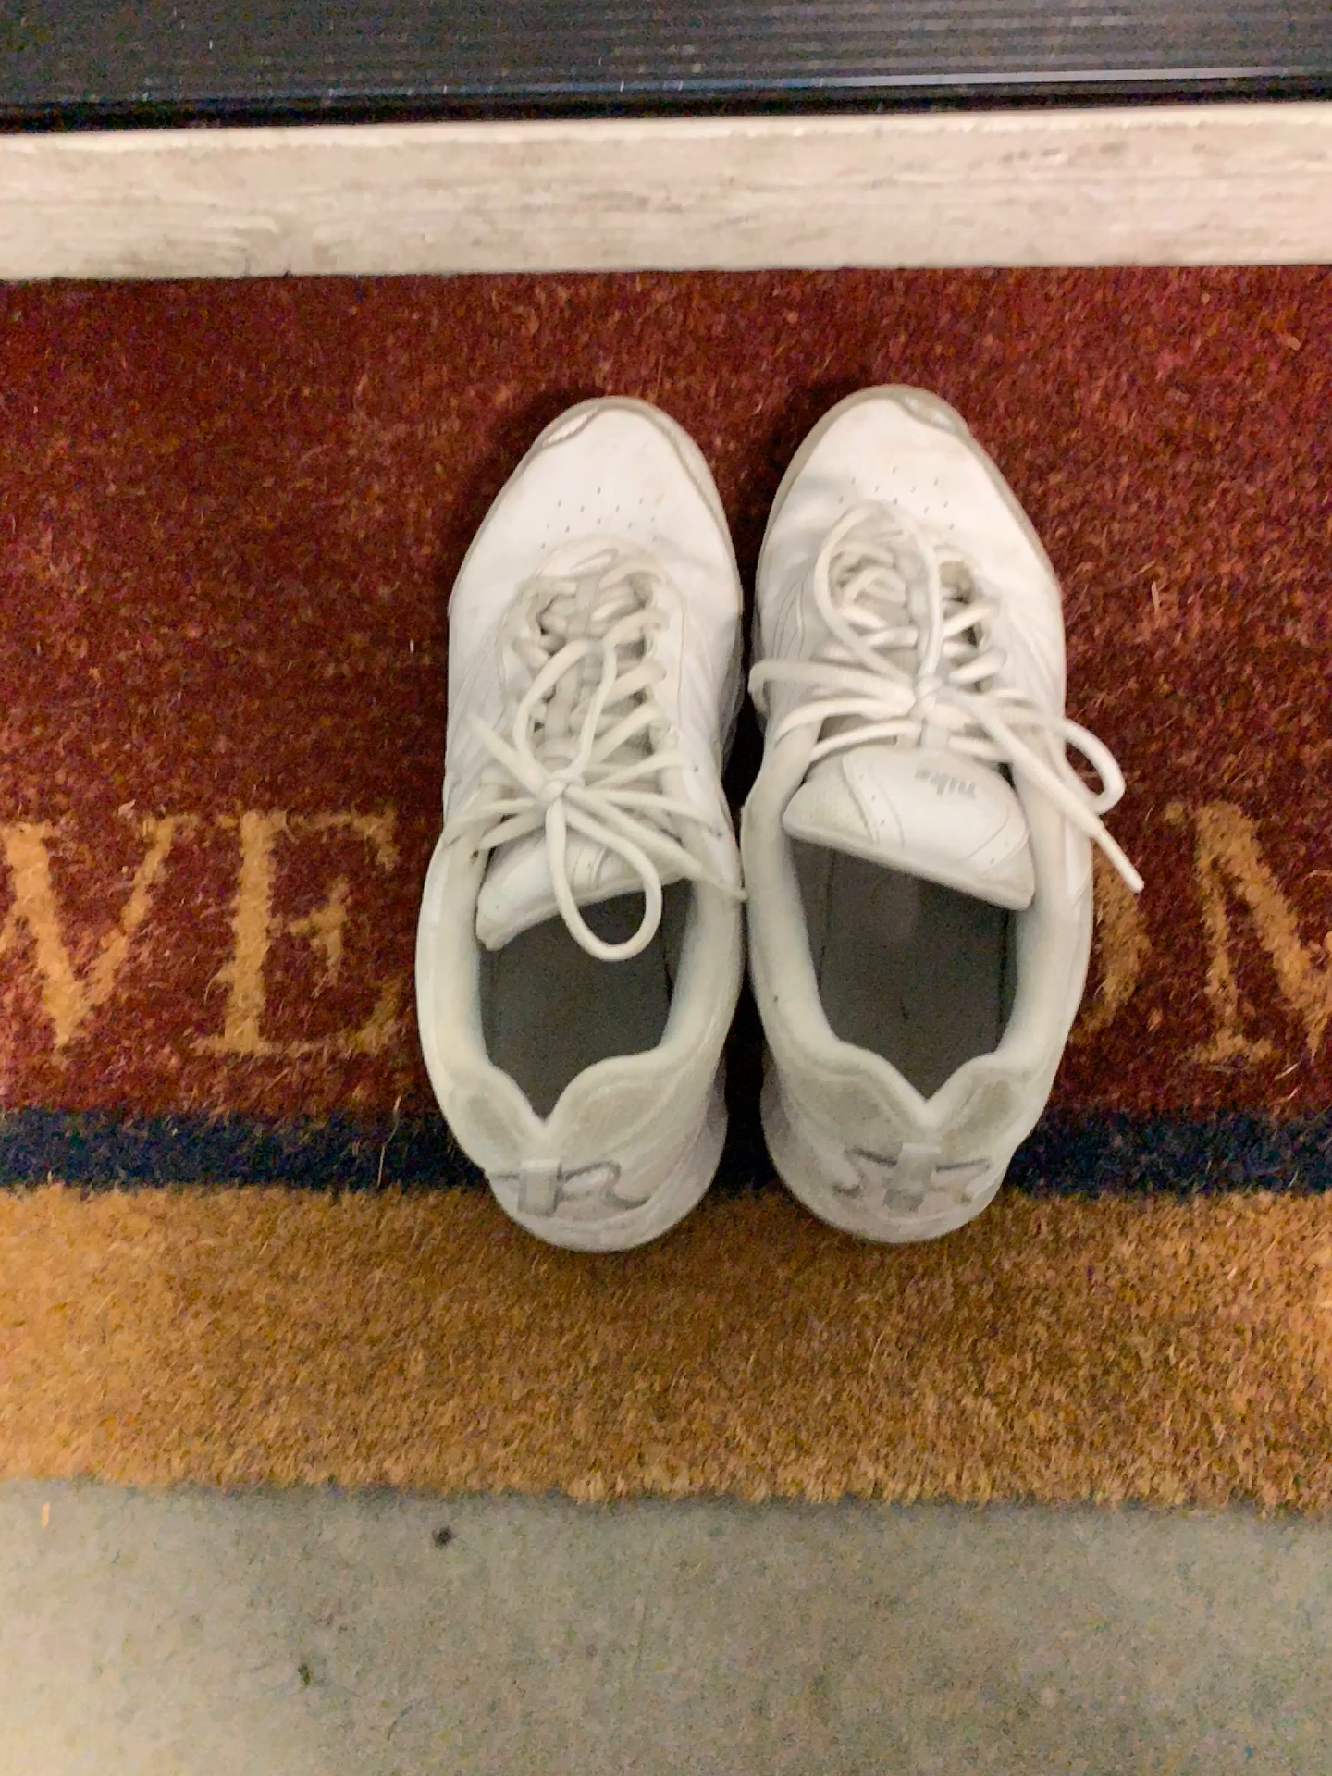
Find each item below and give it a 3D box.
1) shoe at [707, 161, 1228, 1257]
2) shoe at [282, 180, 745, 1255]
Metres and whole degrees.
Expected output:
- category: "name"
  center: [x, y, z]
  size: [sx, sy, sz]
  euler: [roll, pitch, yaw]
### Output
- category: "shoe"
  center: [0.076, -0.046, 0.419]
  size: [0.120, 0.130, 0.301]
  euler: [0, 76, 3]
- category: "shoe"
  center: [-0.031, -0.044, 0.426]
  size: [0.110, 0.130, 0.301]
  euler: [0, 76, 3]
